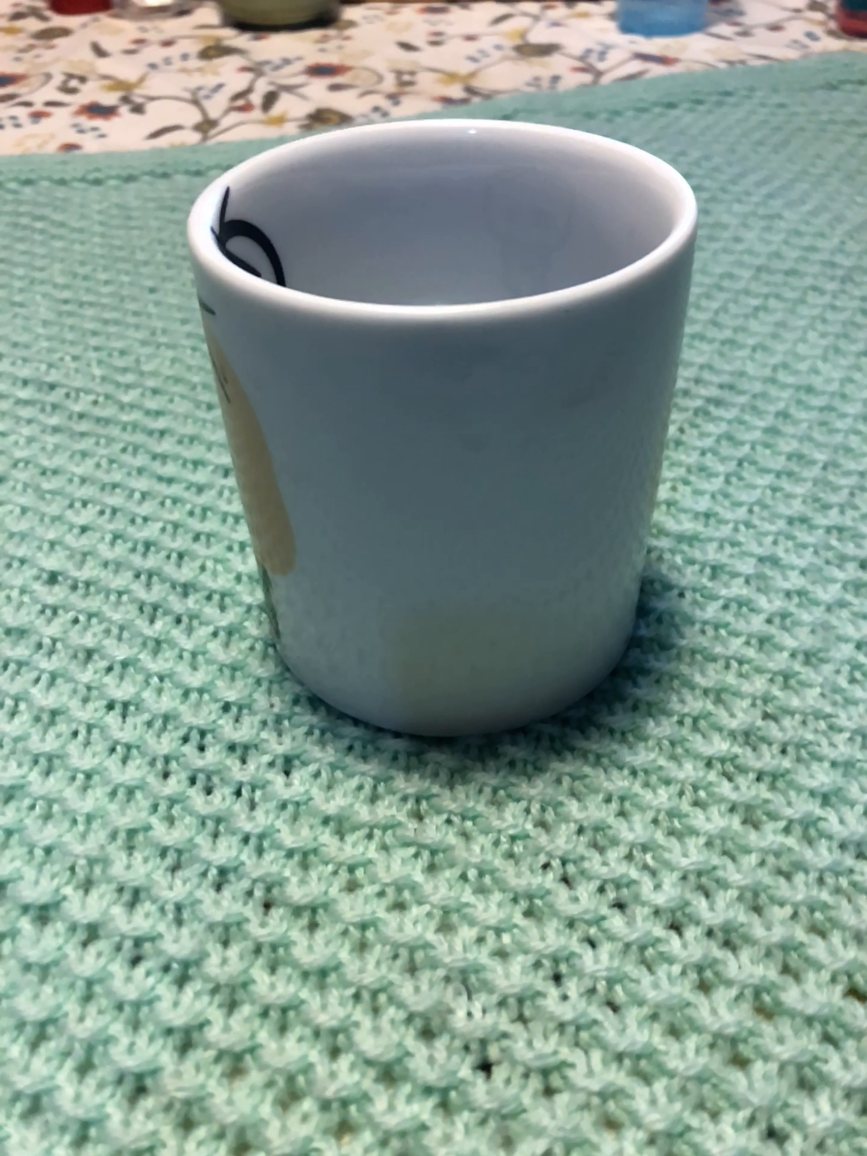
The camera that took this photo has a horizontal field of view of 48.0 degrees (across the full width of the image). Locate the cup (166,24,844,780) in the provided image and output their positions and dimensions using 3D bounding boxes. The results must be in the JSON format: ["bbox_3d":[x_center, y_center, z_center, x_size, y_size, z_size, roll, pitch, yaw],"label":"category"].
[{"bbox_3d":[0.004,-0.045,0.209,0.090,0.099,0.131,-5,42,-4],"label":"cup"}]
